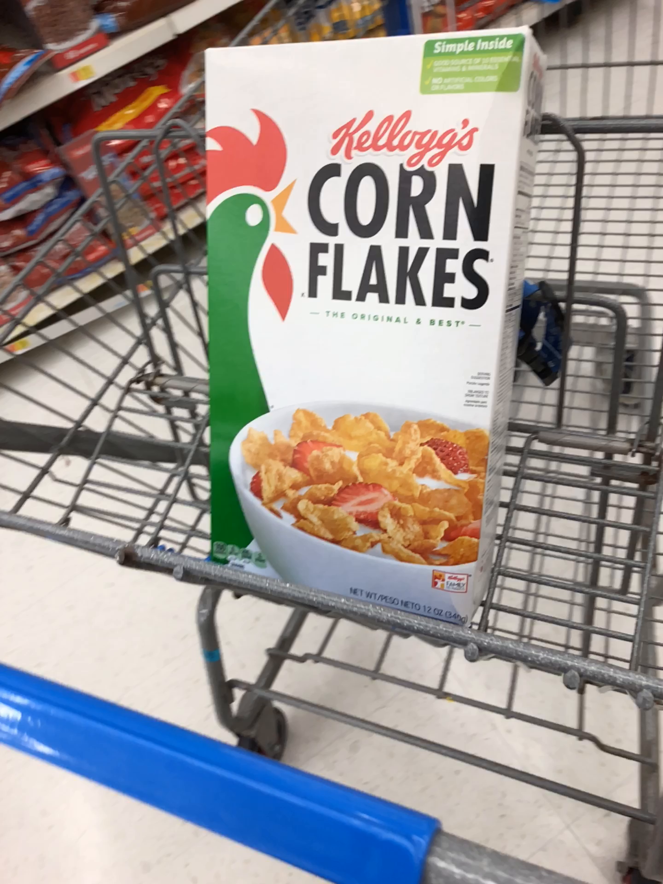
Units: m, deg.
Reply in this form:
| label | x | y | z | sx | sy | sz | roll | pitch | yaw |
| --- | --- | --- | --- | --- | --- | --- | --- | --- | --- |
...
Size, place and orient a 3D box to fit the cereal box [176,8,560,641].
| label | x | y | z | sx | sy | sz | roll | pitch | yaw |
| --- | --- | --- | --- | --- | --- | --- | --- | --- | --- |
| cereal box | 0.013 | -0.066 | 0.467 | 0.210 | 0.340 | 0.070 | 8 | 17 | 23 |
